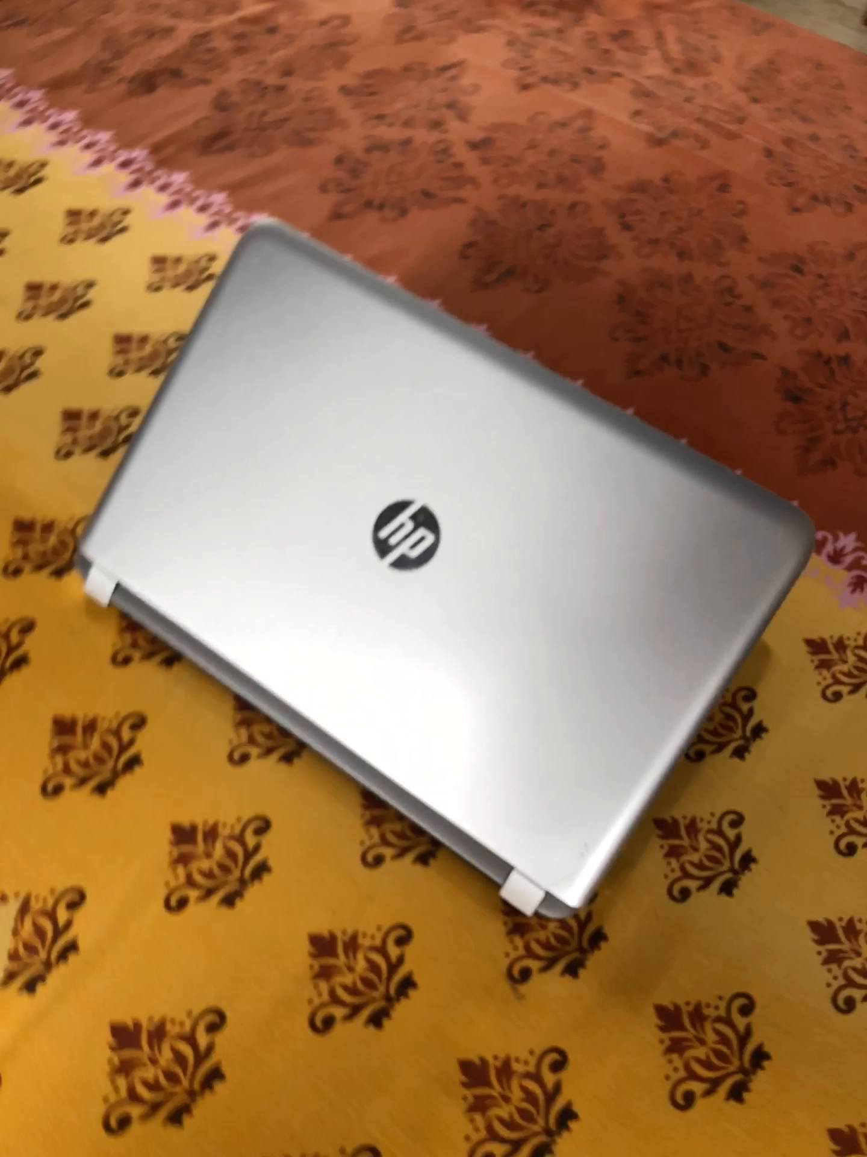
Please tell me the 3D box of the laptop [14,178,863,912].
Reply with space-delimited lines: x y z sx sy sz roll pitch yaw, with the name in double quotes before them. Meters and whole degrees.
"laptop" -0.001 -0.037 0.575 0.372 0.155 0.249 33 60 16
